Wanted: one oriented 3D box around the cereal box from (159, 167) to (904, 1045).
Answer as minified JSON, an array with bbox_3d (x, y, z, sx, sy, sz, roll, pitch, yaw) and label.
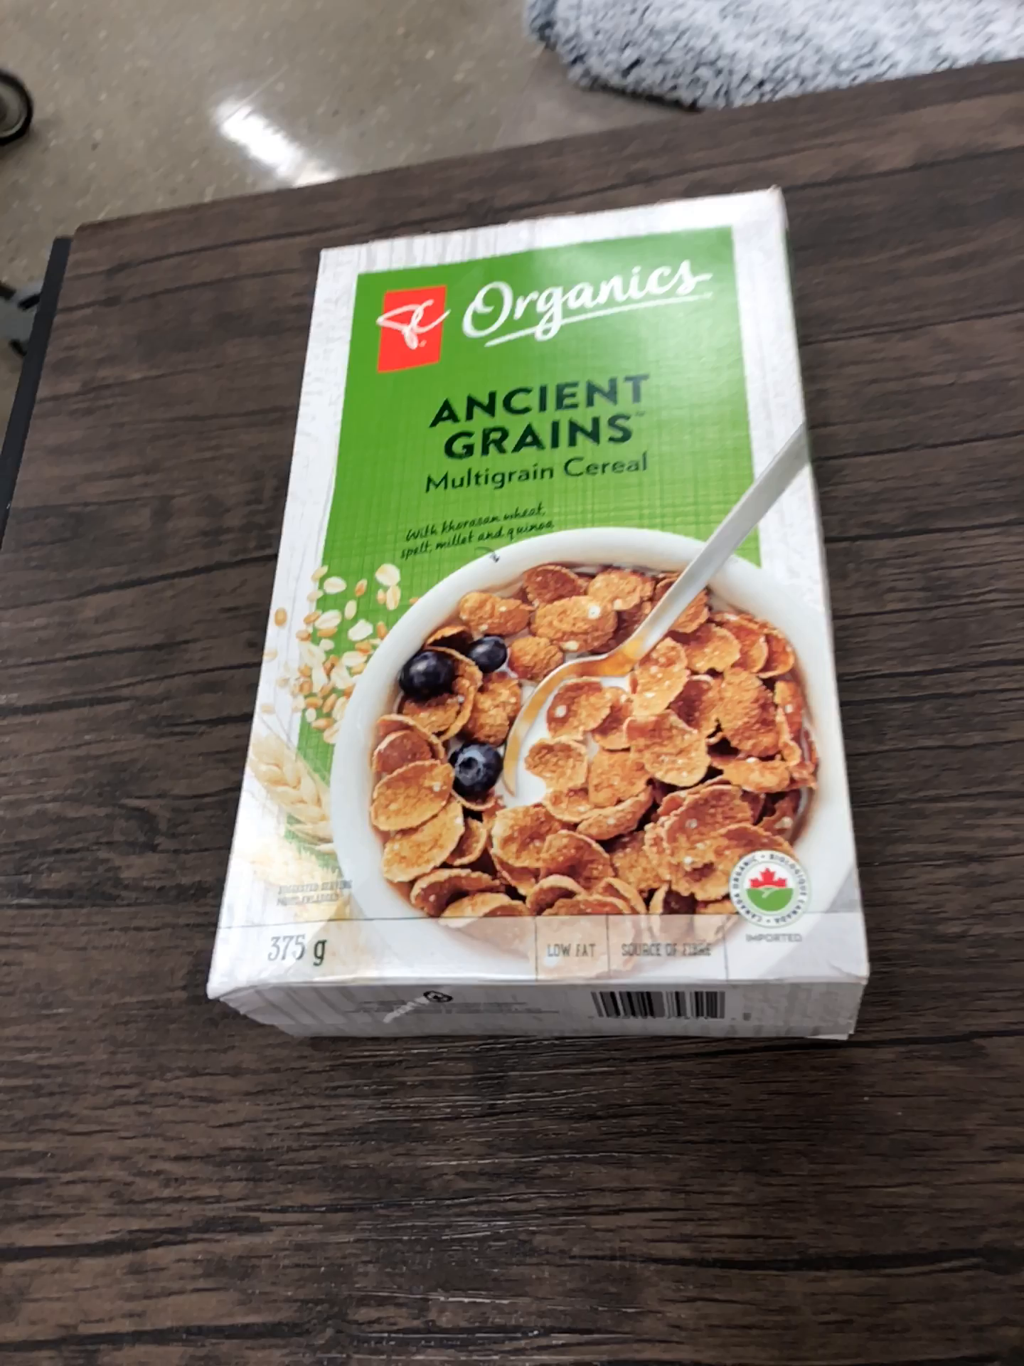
[{"bbox_3d":[0.007,-0.028,0.343,0.170,0.070,0.250,-4,63,10],"label":"cereal box"}]
